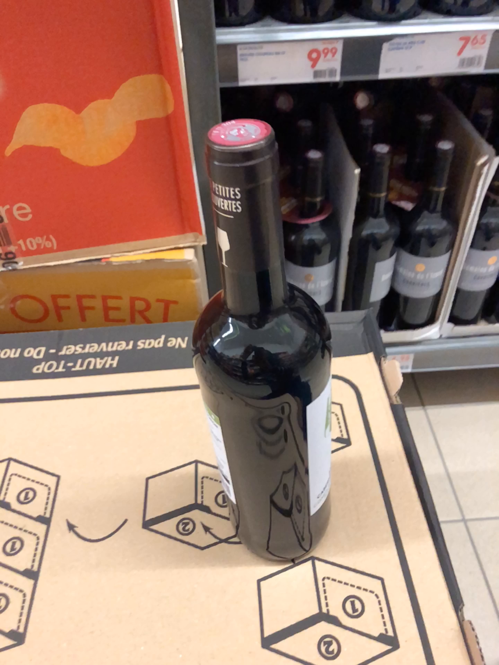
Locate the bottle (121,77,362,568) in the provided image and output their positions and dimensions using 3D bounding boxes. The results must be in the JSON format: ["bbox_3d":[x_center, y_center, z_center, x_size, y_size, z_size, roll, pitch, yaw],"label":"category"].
[{"bbox_3d":[0.011,0.026,0.318,0.080,0.298,0.091,0,44,6],"label":"bottle"}]
